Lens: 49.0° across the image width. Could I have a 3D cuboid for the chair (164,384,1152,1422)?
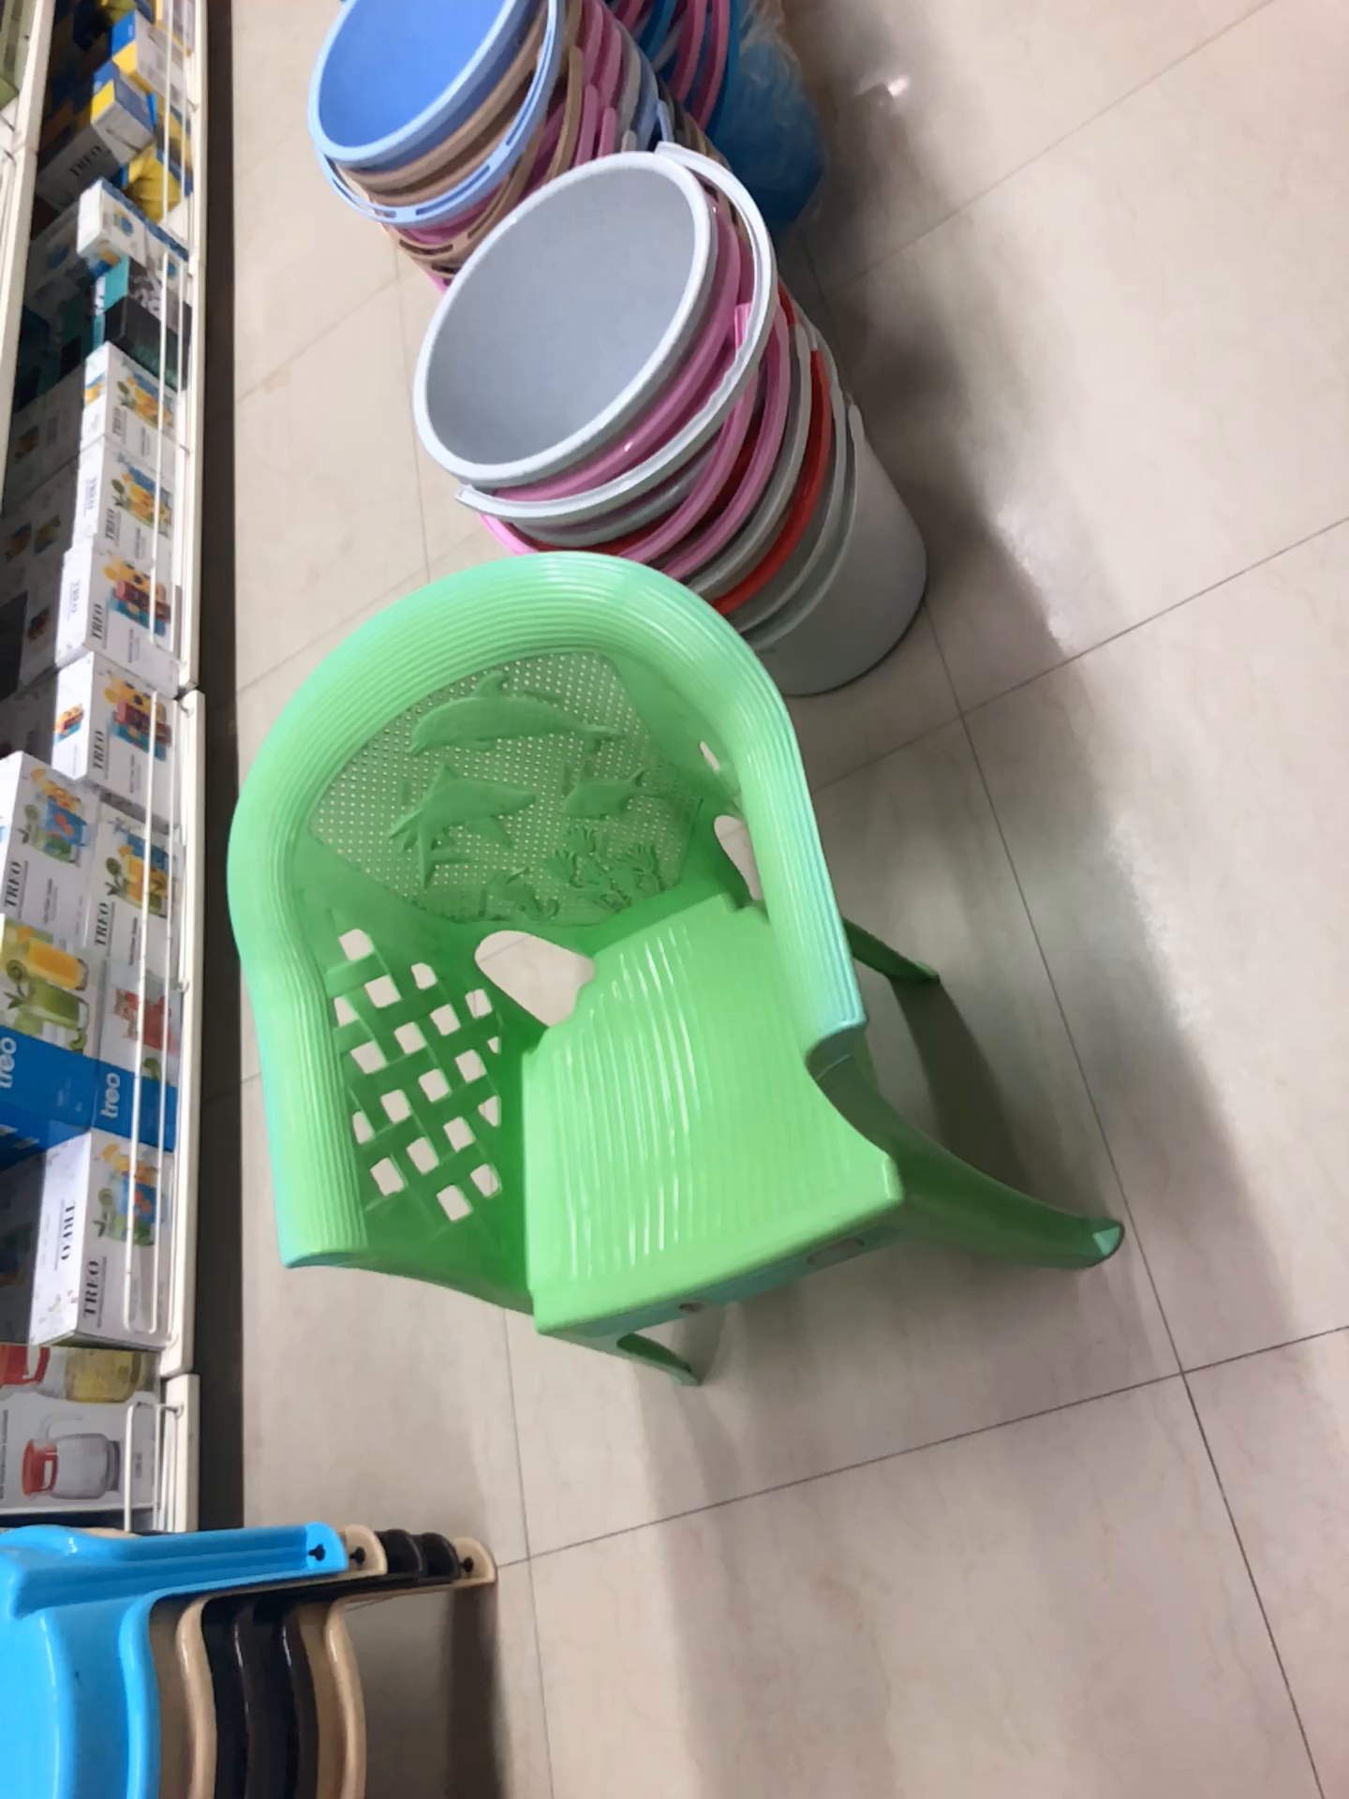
[{"bbox_3d":[-0.011,0.051,0.985,0.431,0.398,0.472,-21,57,29],"label":"chair"}]
